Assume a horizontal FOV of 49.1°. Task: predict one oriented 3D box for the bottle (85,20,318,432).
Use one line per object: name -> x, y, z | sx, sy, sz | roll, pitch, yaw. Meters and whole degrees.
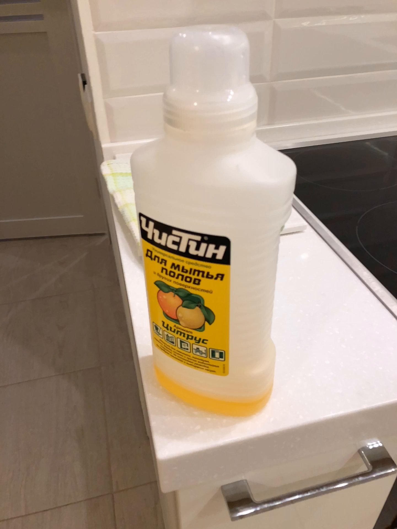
bottle -> 0.006, -0.011, 0.295 | 0.102, 0.264, 0.062 | 16, 38, 24
